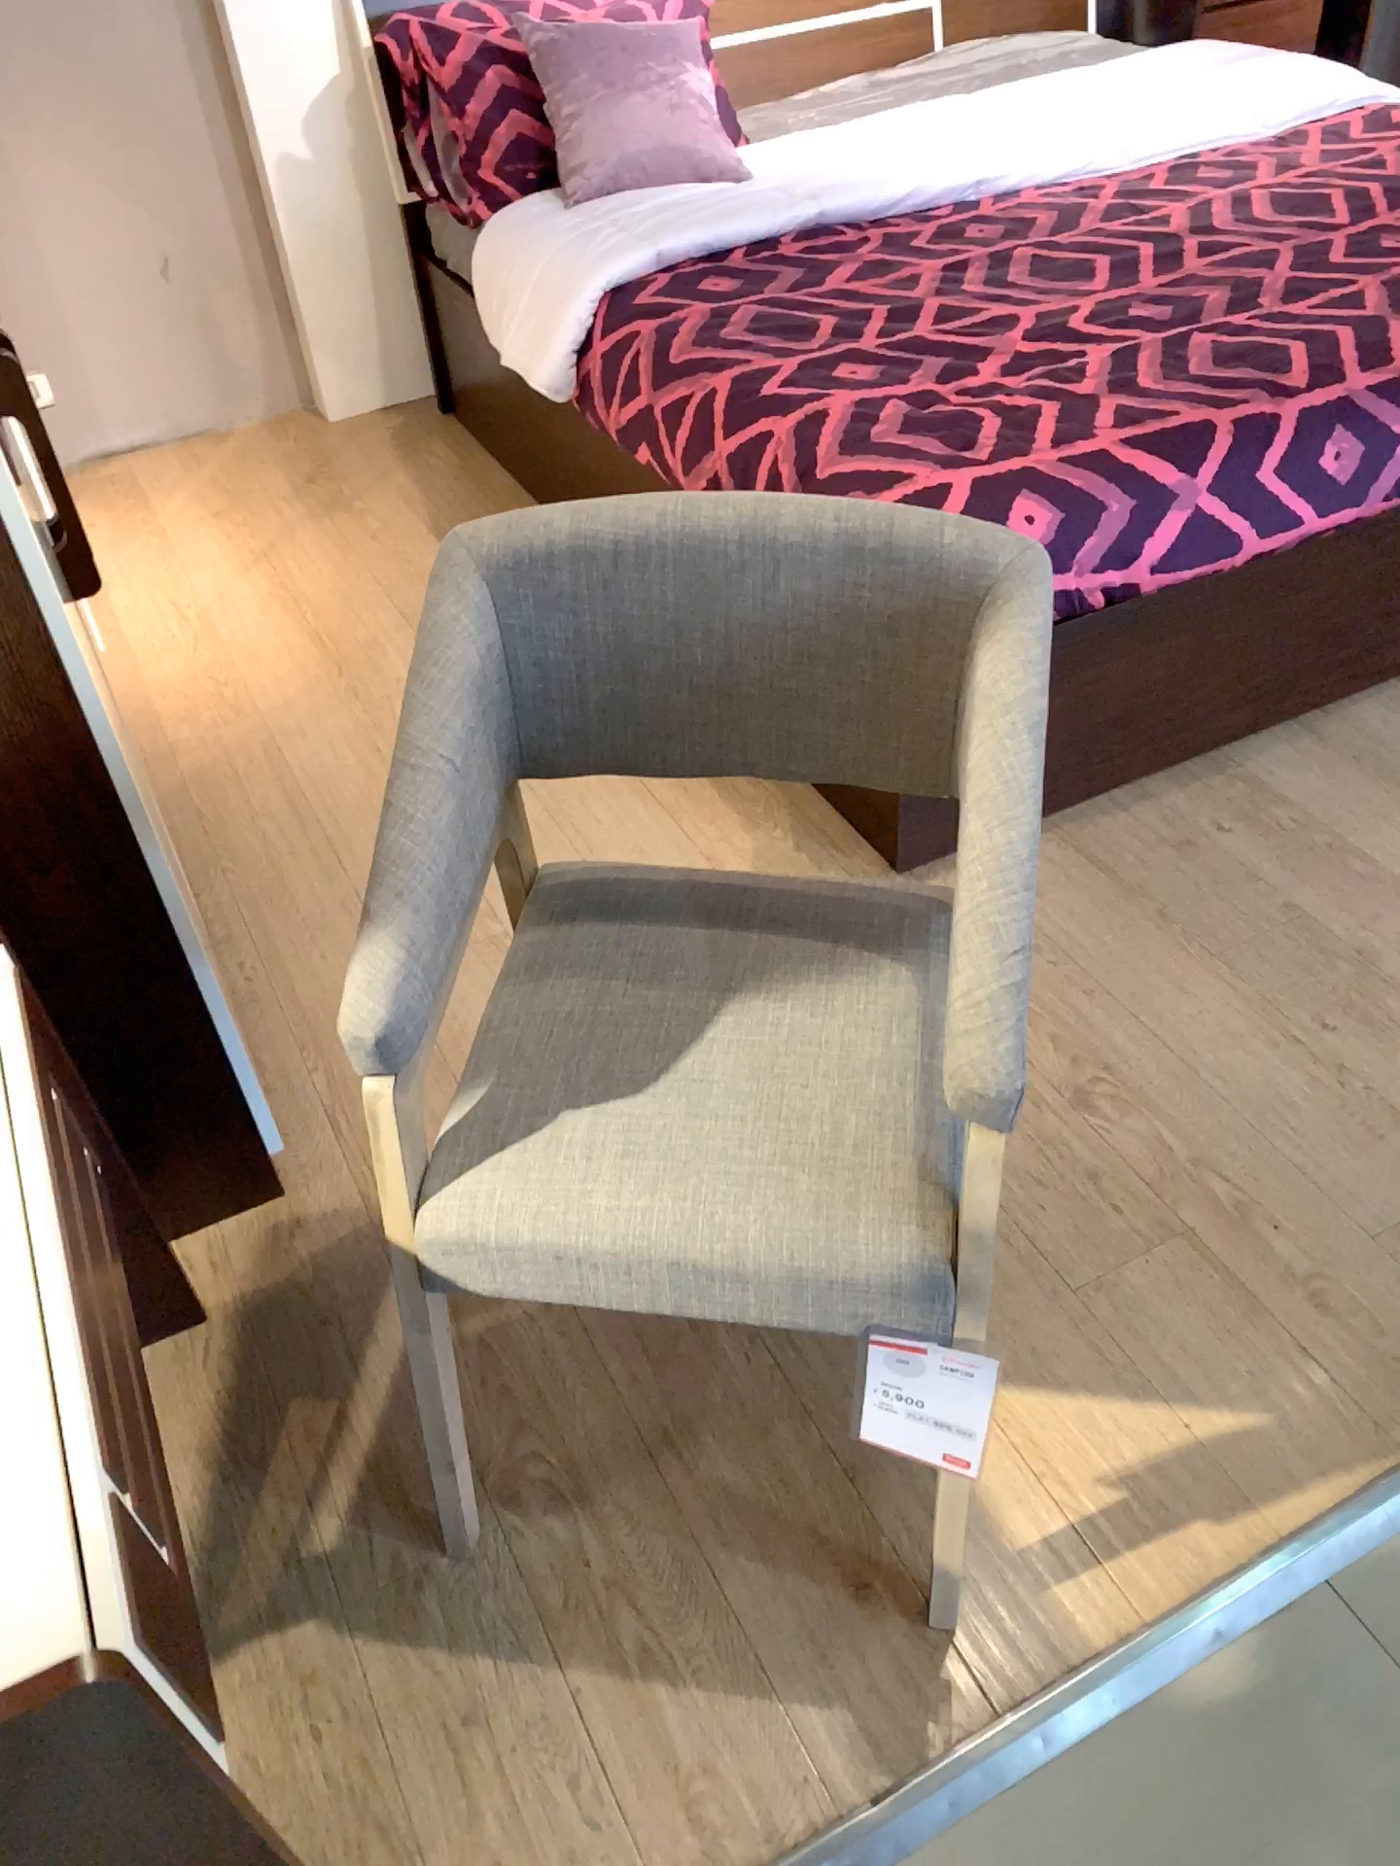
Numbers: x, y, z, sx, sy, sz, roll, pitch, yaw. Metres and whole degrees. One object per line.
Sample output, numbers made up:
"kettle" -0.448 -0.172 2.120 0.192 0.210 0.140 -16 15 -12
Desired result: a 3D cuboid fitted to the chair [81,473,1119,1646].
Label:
"chair" 0.005 0.114 1.225 0.560 0.797 0.582 3 43 10
